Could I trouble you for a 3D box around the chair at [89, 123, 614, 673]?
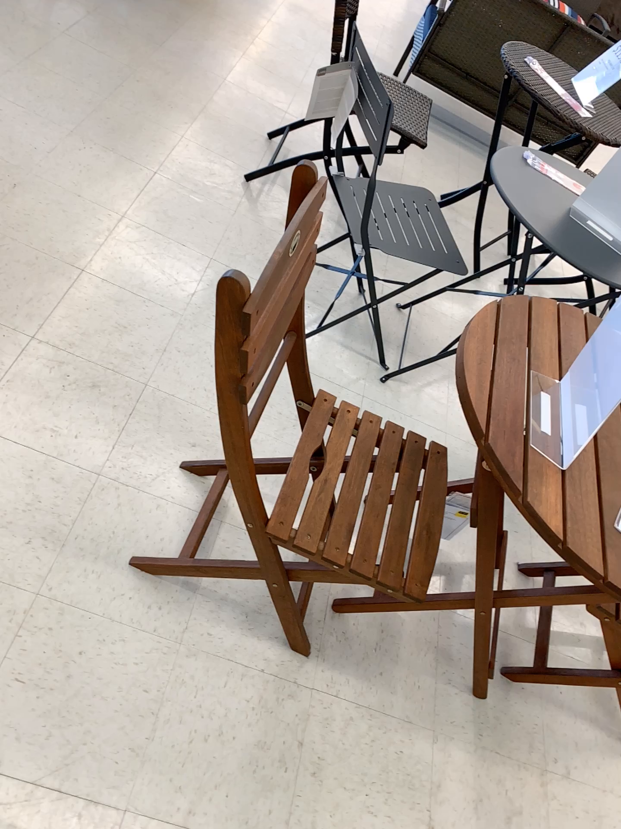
[{"bbox_3d":[0.015,0.044,1.149,0.550,0.776,0.442,25,46,-9],"label":"chair"}]
